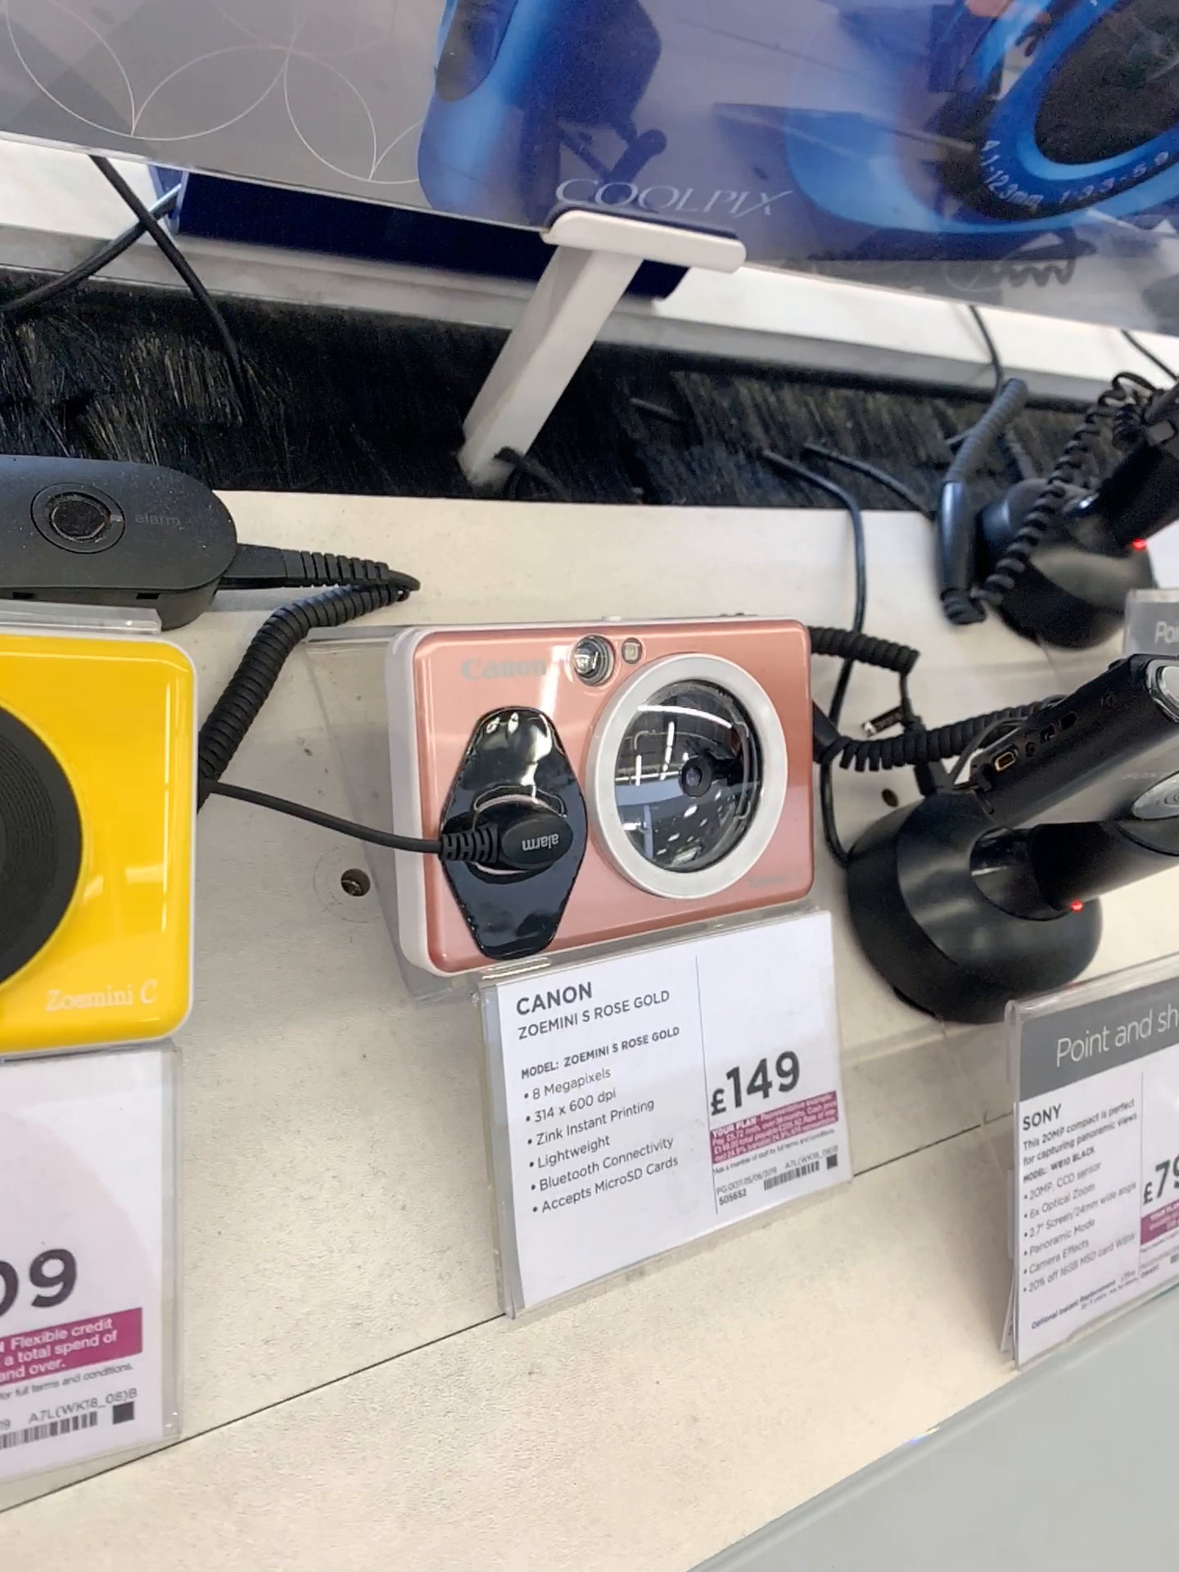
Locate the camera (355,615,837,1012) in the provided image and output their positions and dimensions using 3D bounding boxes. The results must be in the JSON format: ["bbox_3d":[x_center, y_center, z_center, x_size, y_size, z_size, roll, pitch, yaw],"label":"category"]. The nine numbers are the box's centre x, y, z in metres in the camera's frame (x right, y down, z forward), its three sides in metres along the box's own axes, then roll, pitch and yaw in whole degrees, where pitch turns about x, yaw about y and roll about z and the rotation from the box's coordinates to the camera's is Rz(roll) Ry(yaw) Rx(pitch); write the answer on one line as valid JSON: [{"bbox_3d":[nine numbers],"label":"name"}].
[{"bbox_3d":[0.008,0.001,0.305,0.129,0.020,0.083,-7,97,-34],"label":"camera"}]
